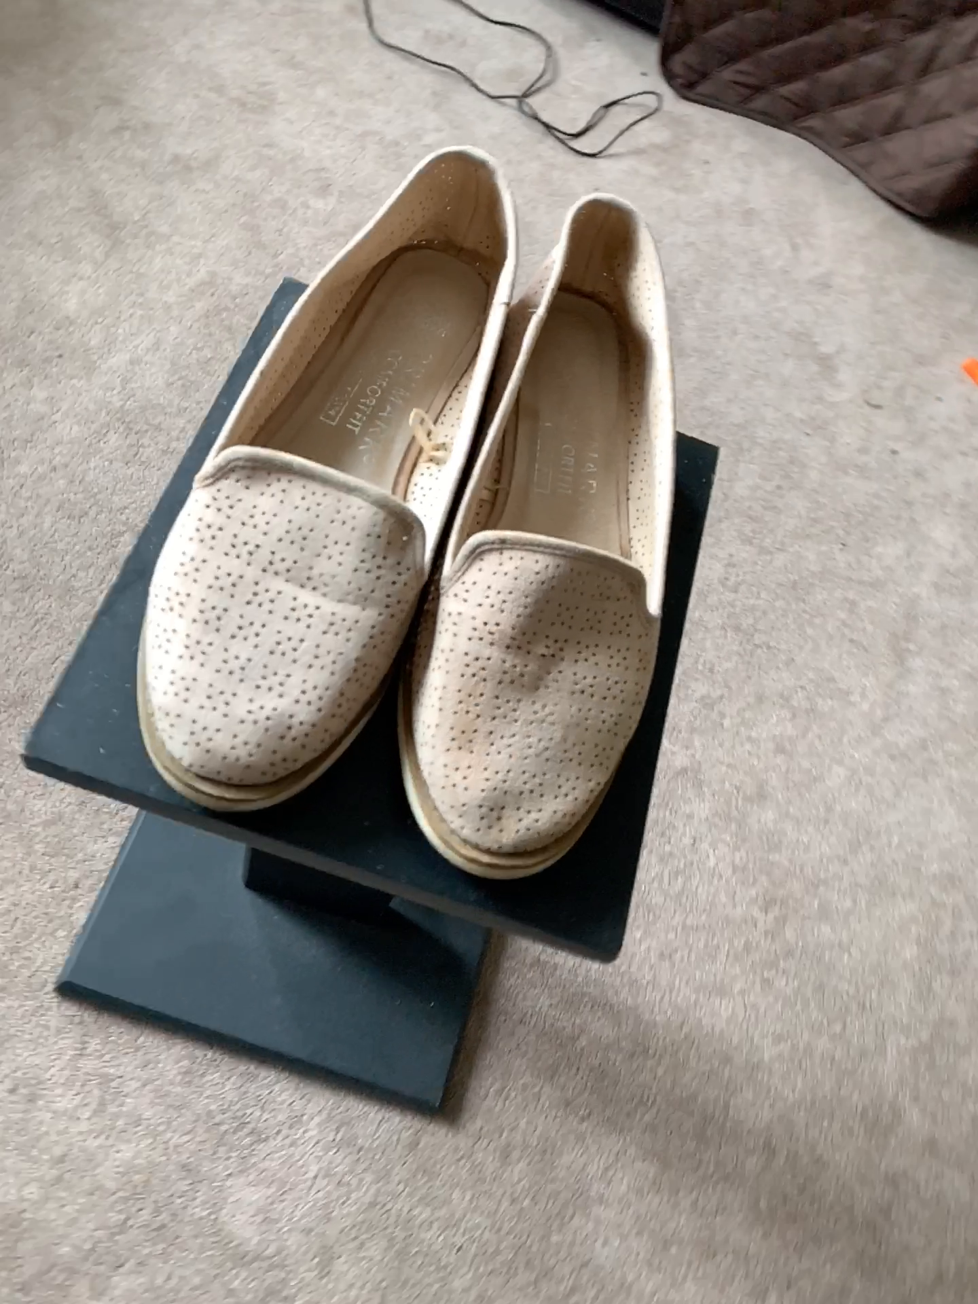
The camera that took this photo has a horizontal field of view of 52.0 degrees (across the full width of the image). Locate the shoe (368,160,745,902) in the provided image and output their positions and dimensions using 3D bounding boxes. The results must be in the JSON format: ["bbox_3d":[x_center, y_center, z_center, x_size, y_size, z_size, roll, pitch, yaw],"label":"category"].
[{"bbox_3d":[0.027,-0.044,0.371,0.080,0.080,0.251,14,71,-8],"label":"shoe"}]

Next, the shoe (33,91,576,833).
[{"bbox_3d":[-0.054,-0.072,0.365,0.080,0.080,0.251,23,68,-3],"label":"shoe"}]
